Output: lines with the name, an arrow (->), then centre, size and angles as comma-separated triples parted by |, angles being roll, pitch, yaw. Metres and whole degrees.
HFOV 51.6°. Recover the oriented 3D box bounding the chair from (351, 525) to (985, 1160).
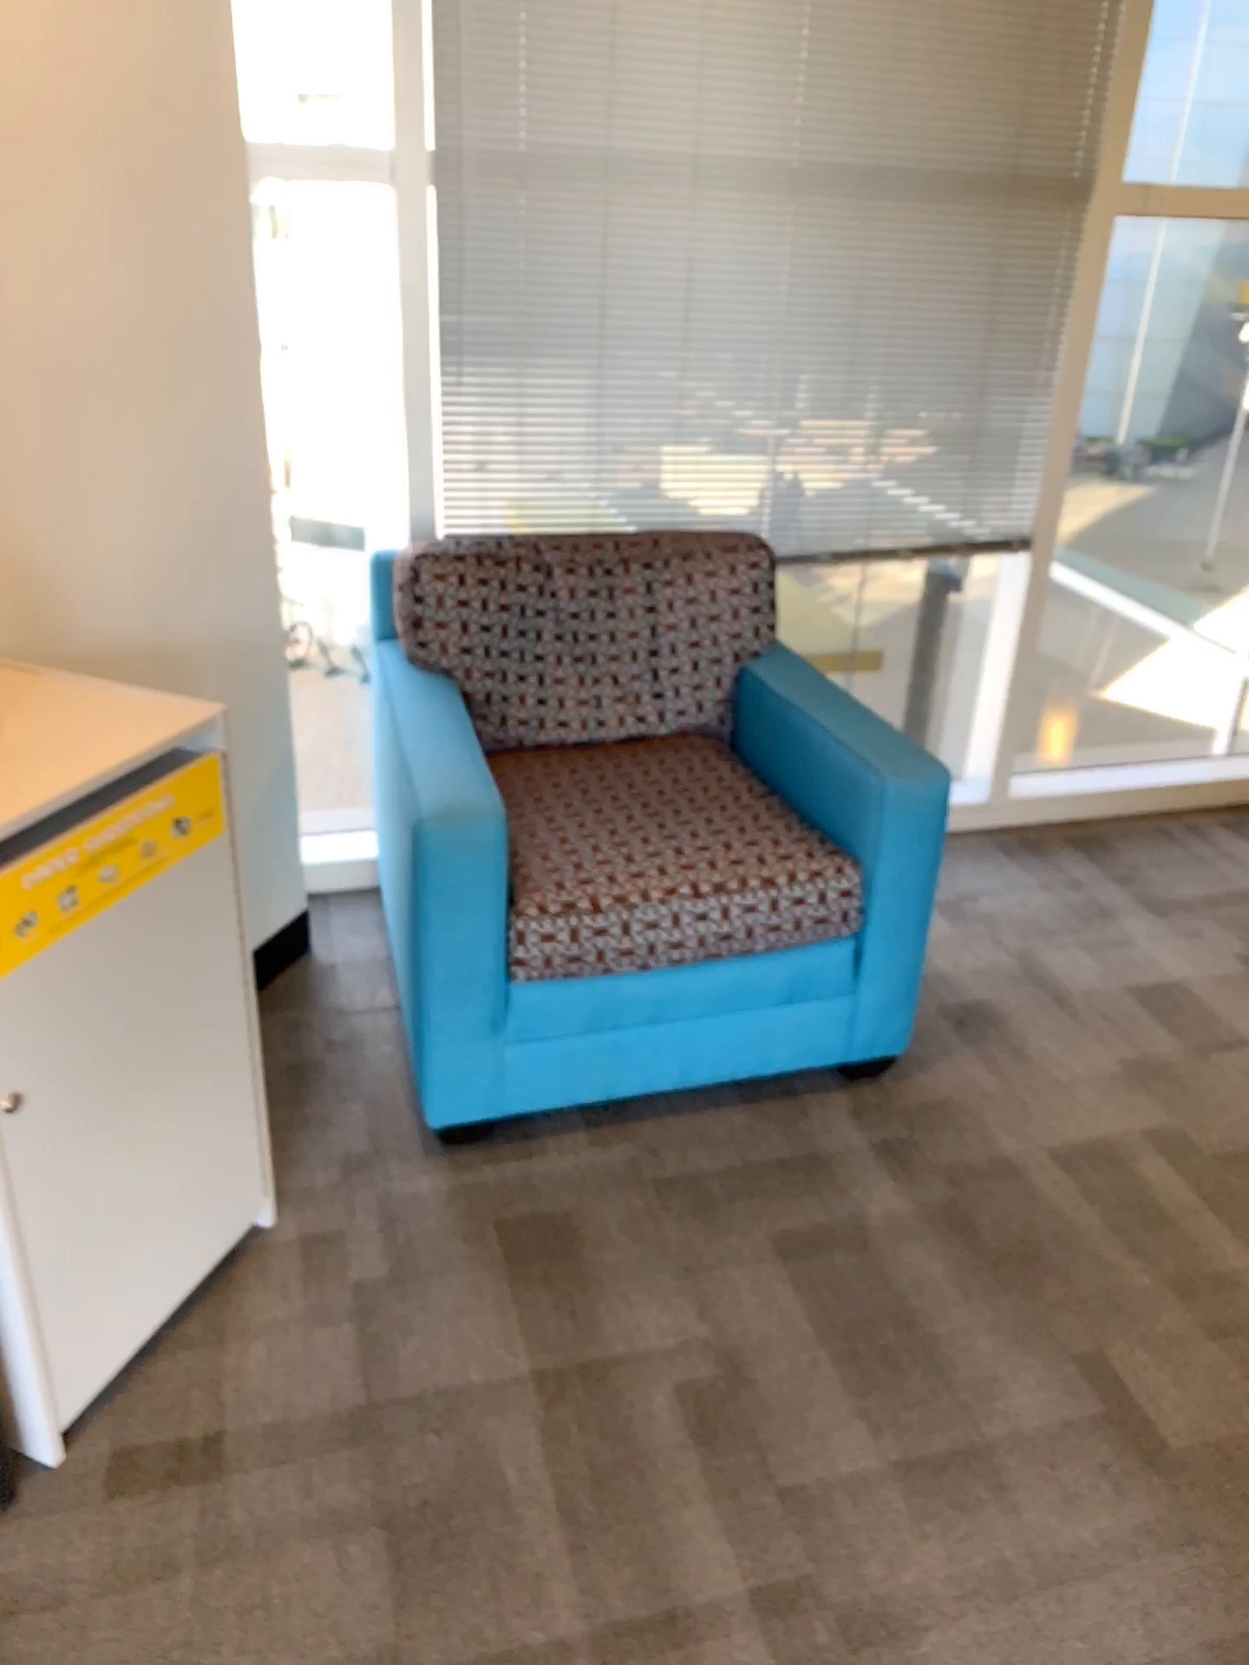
chair -> -0.006, -0.062, 2.510 | 0.910, 0.825, 0.925 | -5, 27, -15
